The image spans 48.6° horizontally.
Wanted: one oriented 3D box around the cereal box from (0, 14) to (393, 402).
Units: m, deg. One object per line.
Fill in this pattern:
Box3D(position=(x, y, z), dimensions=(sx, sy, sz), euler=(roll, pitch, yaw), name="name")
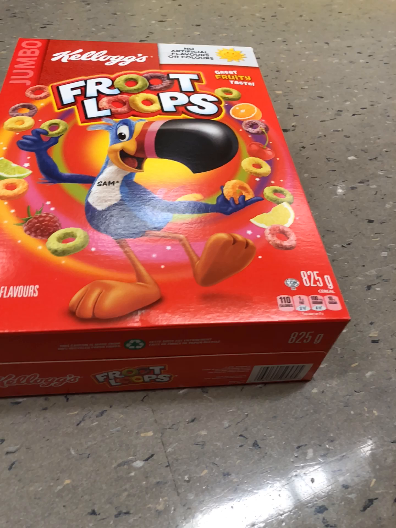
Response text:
Box3D(position=(-0.051, -0.085, 0.361), dimensions=(0.270, 0.080, 0.361), euler=(-1, 50, -7), name="cereal box")
